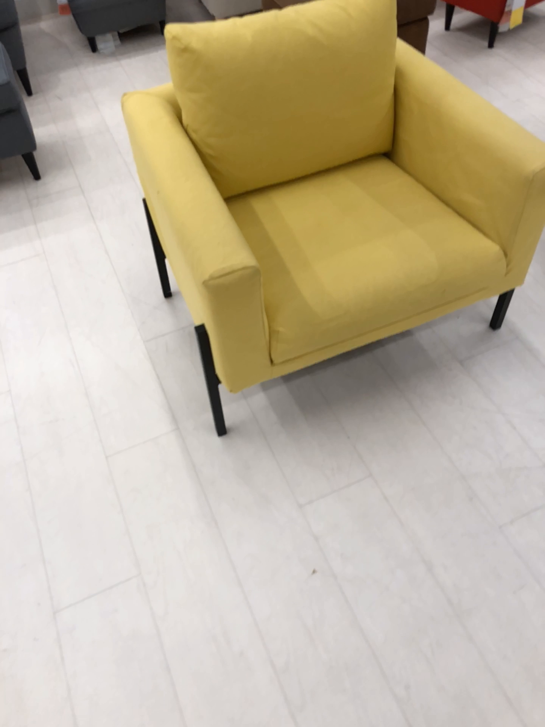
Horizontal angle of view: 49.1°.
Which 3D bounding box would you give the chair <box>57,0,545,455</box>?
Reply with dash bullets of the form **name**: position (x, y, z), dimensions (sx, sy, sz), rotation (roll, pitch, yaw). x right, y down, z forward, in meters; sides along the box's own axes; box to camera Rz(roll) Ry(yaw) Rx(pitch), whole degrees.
- **chair**: position (0.137, -0.419, 1.500), dimensions (0.980, 0.758, 0.692), rotation (-21, 54, -12)
